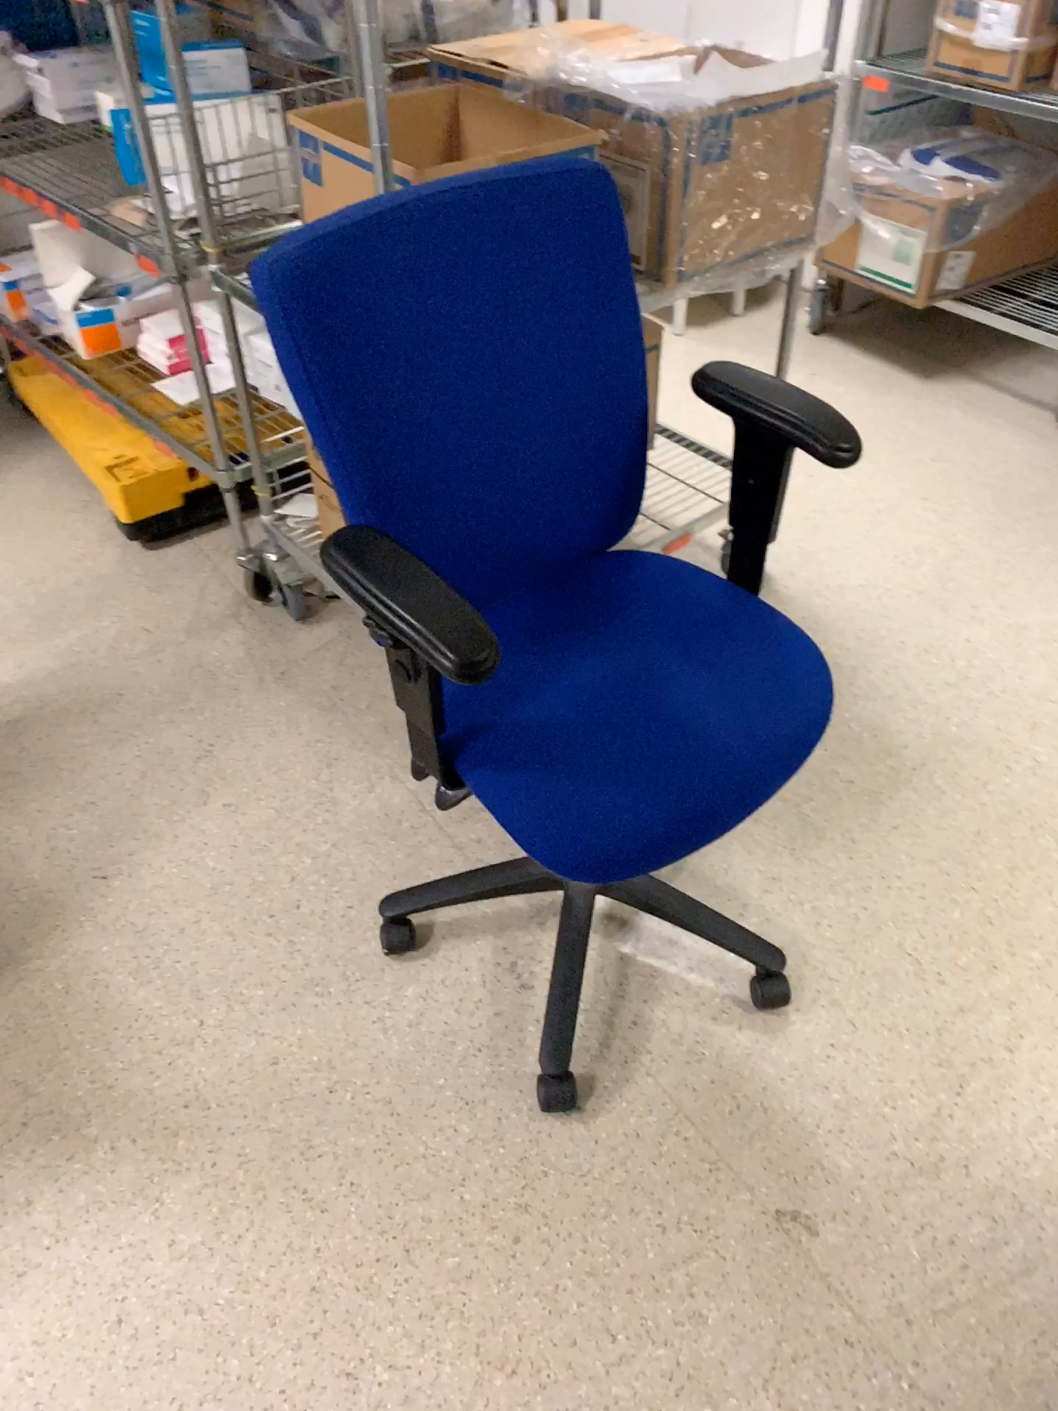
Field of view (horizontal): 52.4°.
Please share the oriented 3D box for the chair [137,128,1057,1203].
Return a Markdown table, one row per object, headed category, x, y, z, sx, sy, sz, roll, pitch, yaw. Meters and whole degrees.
| category | x | y | z | sx | sy | sz | roll | pitch | yaw |
| --- | --- | --- | --- | --- | --- | --- | --- | --- | --- |
| chair | 0.084 | -0.072 | 1.342 | 0.680 | 0.949 | 0.670 | -27 | 48 | -27 |
